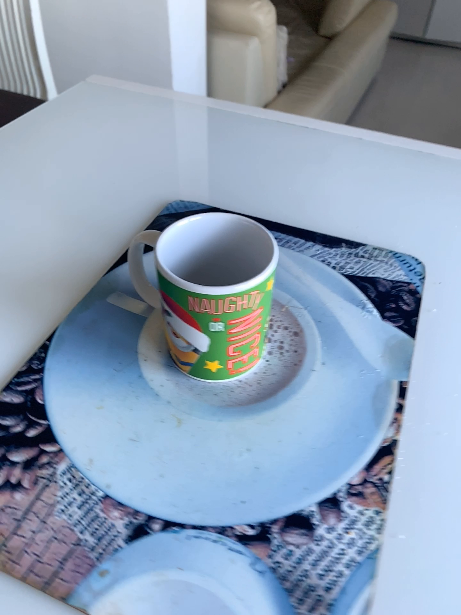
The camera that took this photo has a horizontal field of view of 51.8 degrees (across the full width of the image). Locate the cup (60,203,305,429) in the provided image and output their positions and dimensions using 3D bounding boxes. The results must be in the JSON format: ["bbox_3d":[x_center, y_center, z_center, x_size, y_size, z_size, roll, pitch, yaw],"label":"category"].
[{"bbox_3d":[-0.032,0.000,0.344,0.134,0.077,0.094,25,50,21],"label":"cup"}]
